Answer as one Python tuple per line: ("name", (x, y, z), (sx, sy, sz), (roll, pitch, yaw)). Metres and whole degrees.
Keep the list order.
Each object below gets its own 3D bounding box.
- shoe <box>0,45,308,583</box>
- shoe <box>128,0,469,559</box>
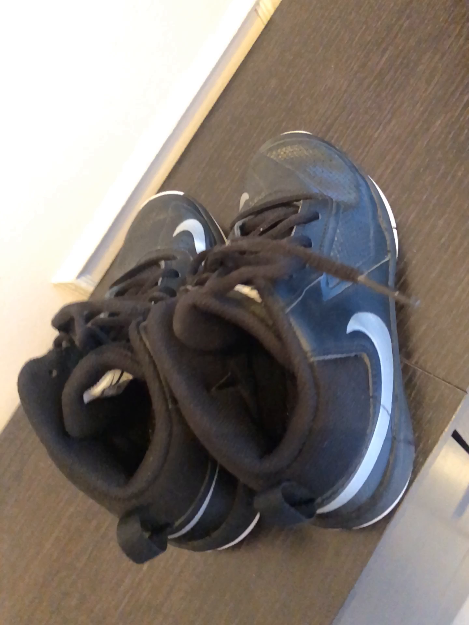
("shoe", (-0.057, 0.000, 0.301), (0.100, 0.129, 0.261), (-23, 58, 22))
("shoe", (0.031, -0.020, 0.260), (0.100, 0.129, 0.251), (-18, 60, 25))
